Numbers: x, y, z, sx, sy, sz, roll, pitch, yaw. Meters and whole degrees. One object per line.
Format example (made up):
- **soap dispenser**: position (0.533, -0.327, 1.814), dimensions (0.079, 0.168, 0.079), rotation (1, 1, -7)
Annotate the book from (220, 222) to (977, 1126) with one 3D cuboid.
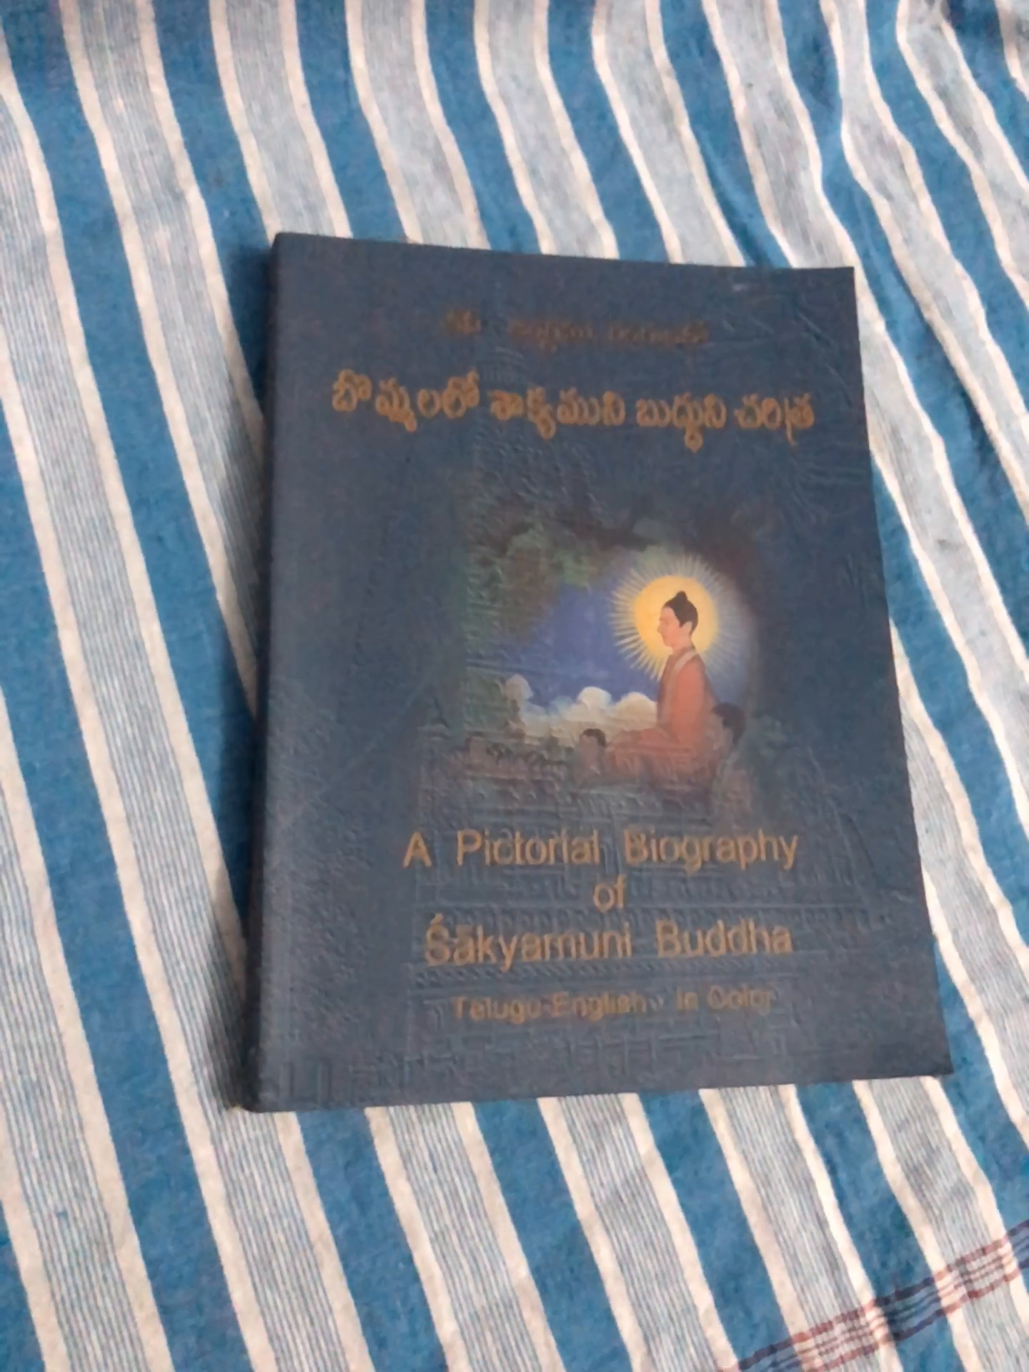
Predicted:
- **book**: position (0.017, -0.012, 0.291), dimensions (0.170, 0.020, 0.220), rotation (0, 73, -10)
